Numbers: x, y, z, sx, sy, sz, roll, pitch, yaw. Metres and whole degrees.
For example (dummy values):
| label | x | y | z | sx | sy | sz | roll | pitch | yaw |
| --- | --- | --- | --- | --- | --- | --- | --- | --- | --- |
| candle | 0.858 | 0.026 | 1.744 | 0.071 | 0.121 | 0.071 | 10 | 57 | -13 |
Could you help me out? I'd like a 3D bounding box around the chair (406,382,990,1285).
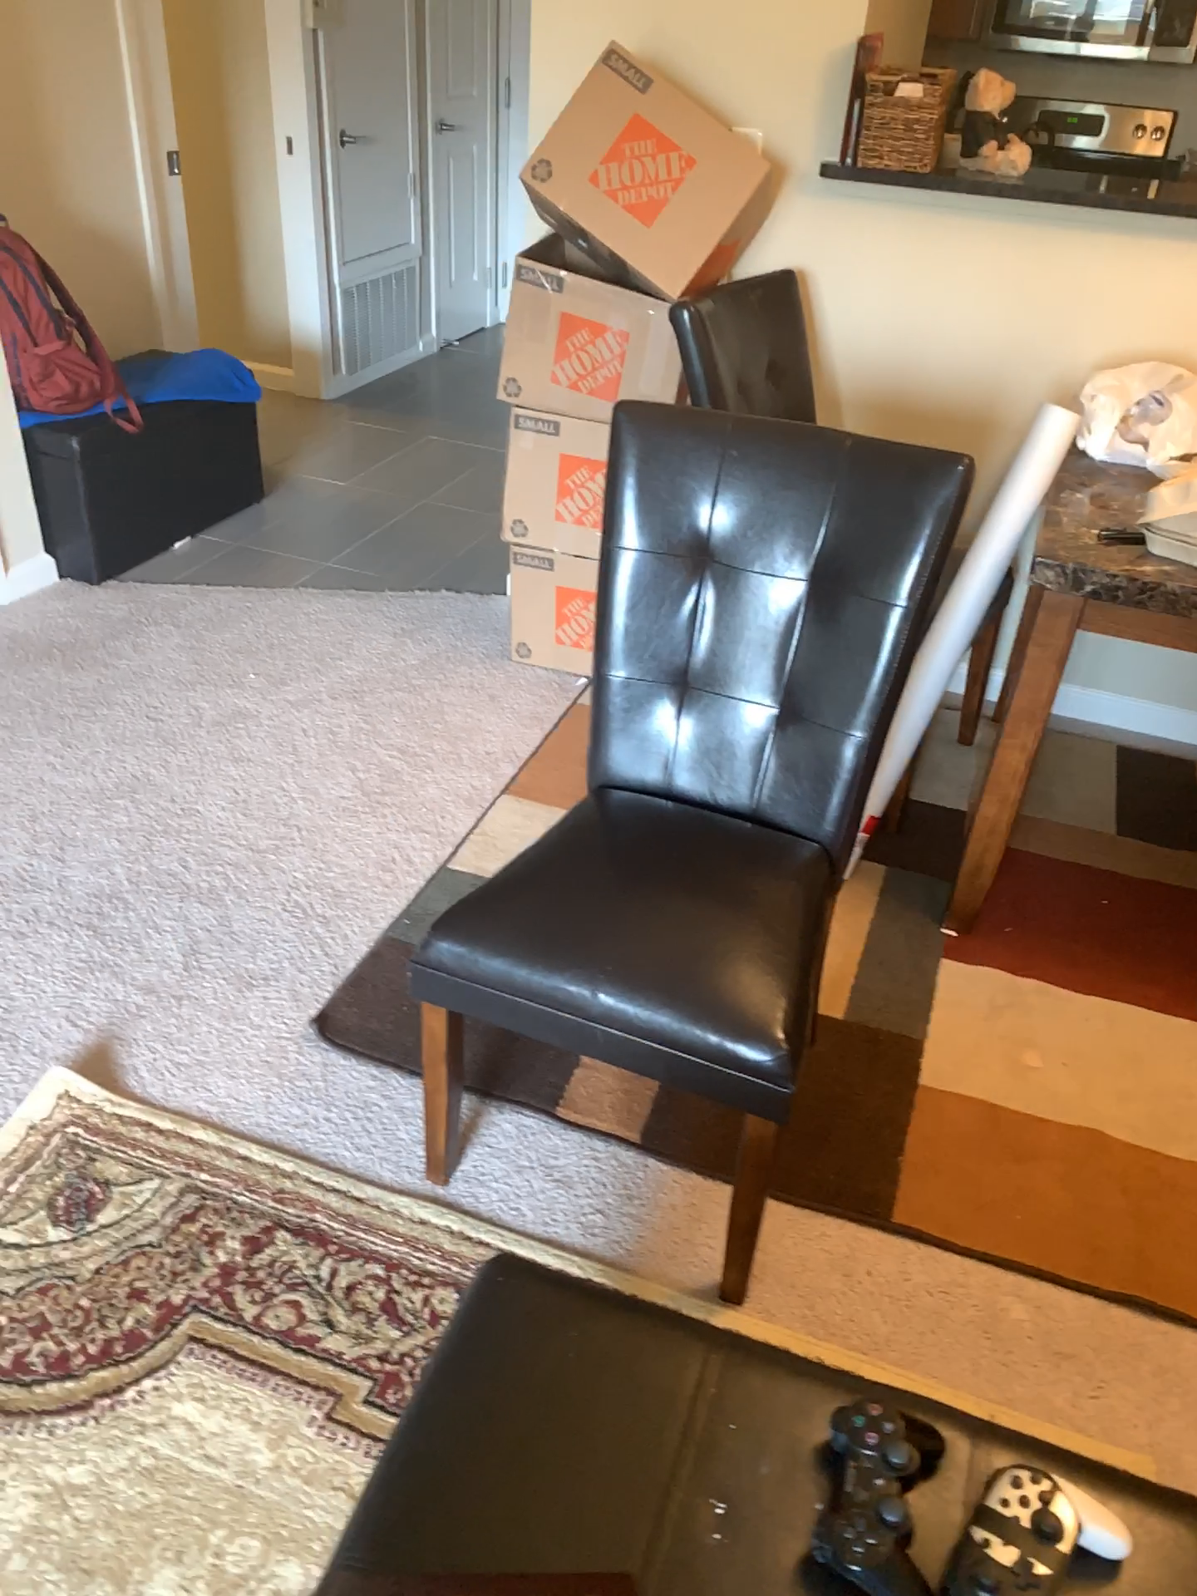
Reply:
| label | x | y | z | sx | sy | sz | roll | pitch | yaw |
| --- | --- | --- | --- | --- | --- | --- | --- | --- | --- |
| chair | 0.131 | 0.019 | 1.636 | 0.491 | 0.915 | 0.653 | 15 | 35 | 16 |
